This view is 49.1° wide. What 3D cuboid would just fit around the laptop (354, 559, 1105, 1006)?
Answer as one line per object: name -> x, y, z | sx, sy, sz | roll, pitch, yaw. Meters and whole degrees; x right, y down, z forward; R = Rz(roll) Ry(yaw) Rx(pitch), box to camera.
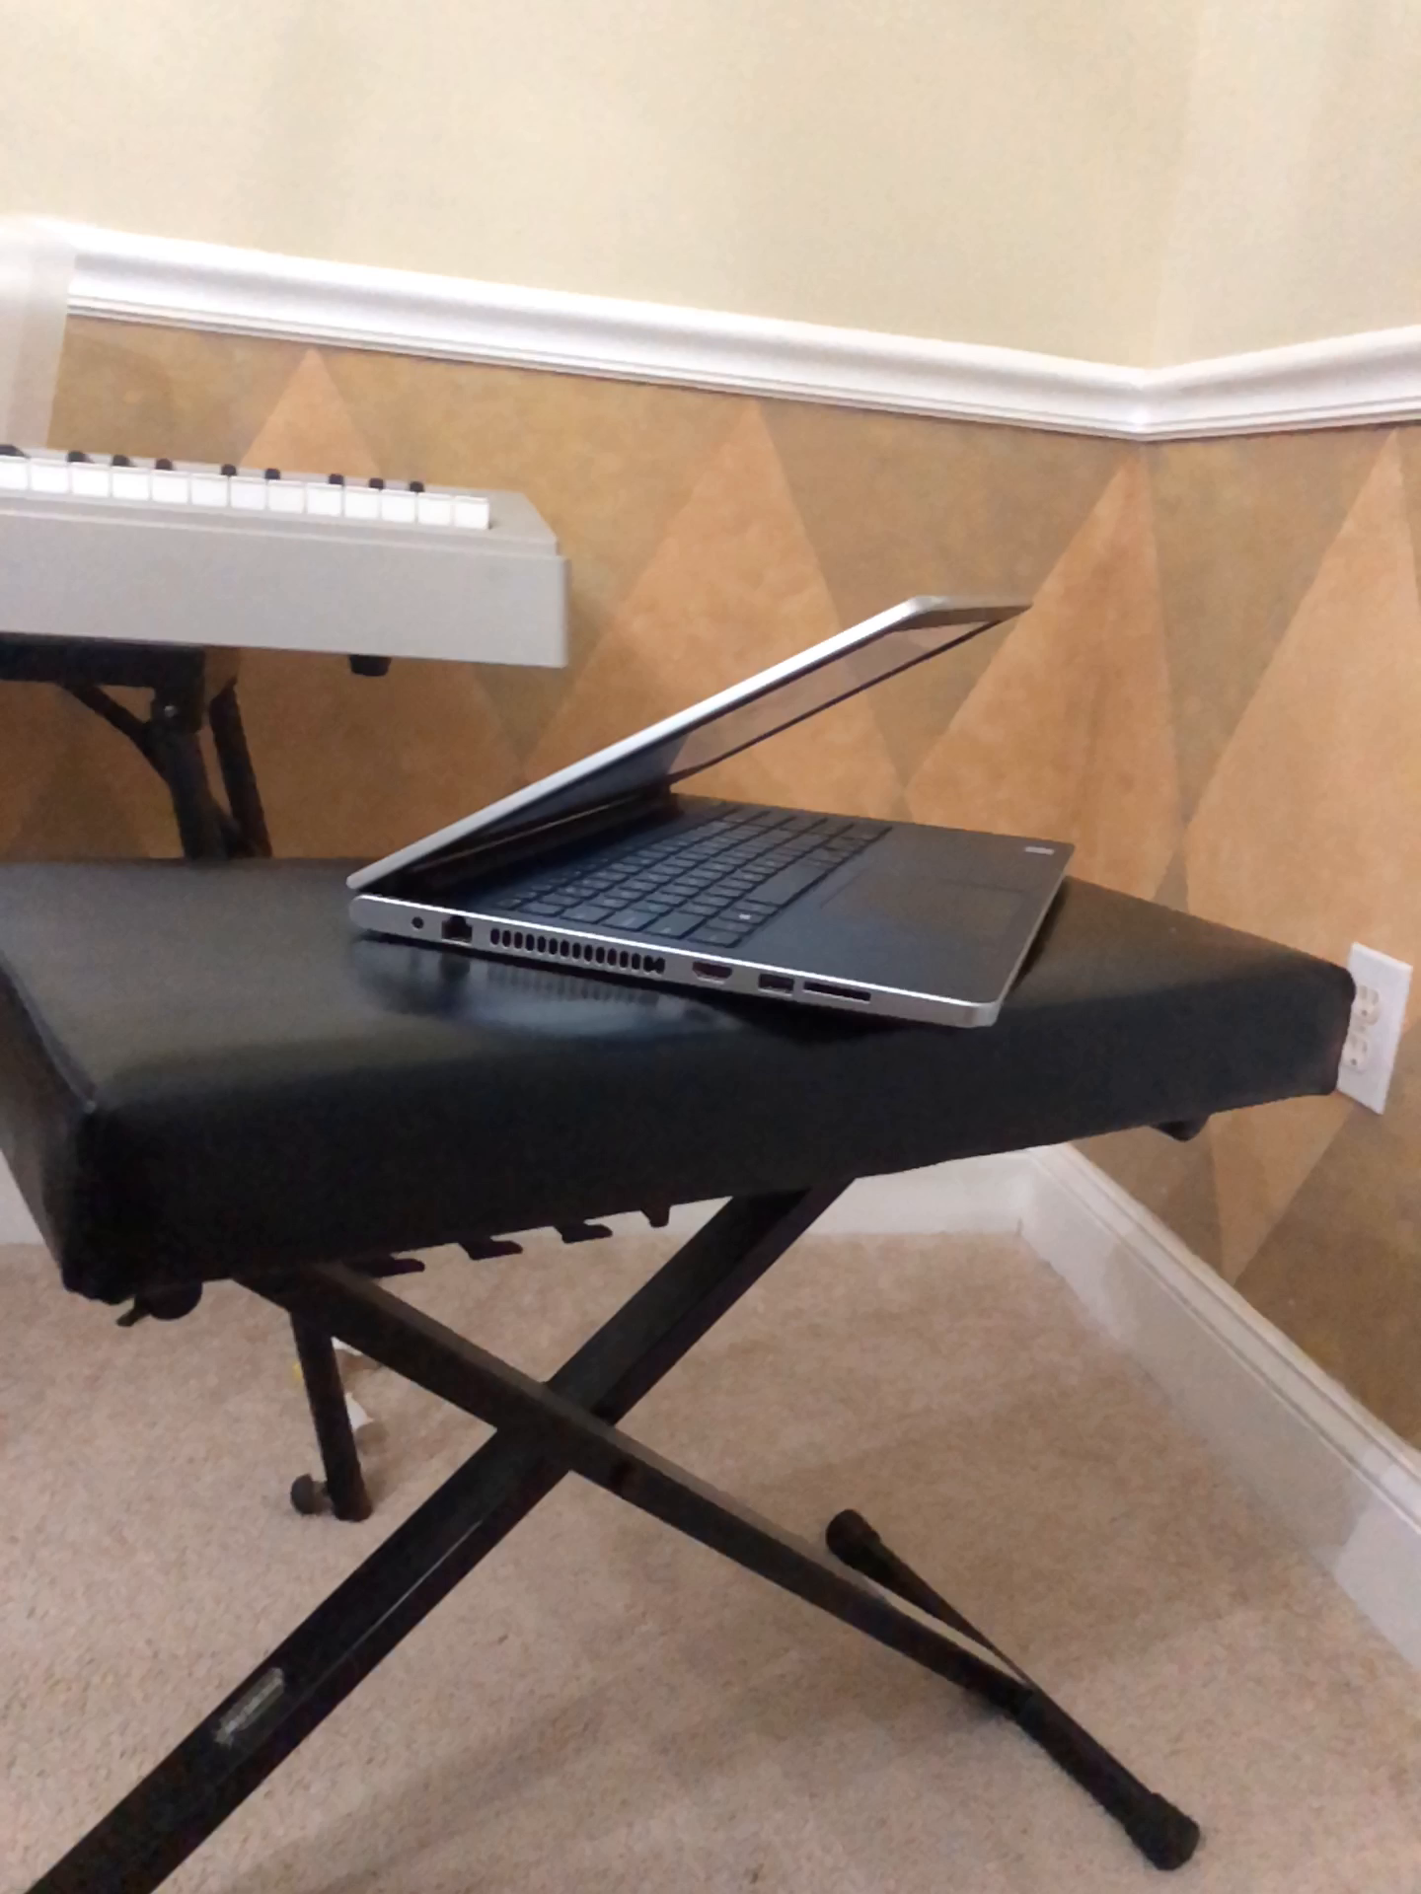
laptop -> 0.040, -0.106, 0.772 | 0.261, 0.137, 0.377 | 10, 15, 15
